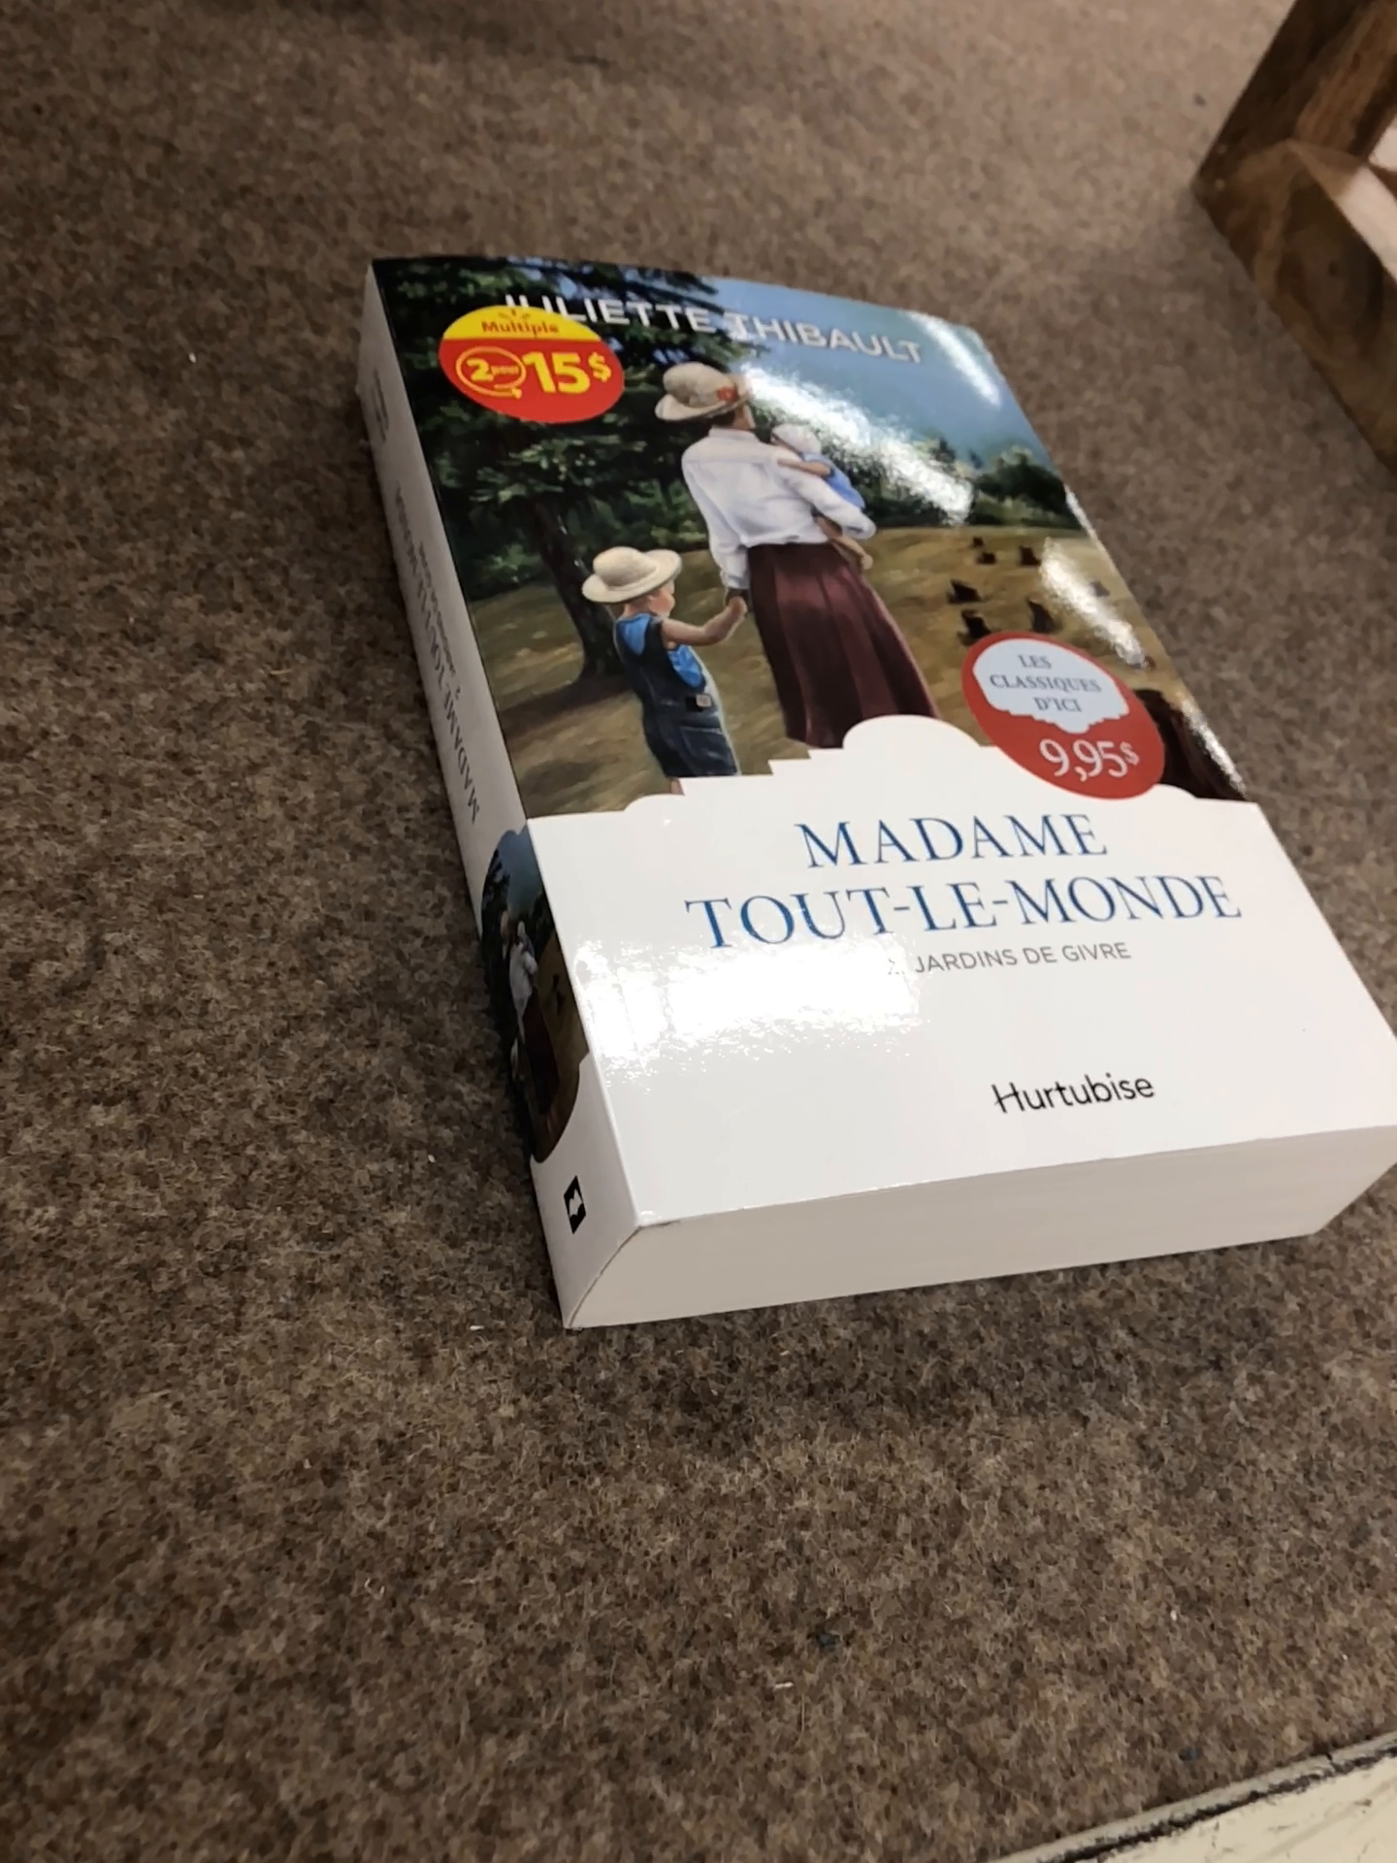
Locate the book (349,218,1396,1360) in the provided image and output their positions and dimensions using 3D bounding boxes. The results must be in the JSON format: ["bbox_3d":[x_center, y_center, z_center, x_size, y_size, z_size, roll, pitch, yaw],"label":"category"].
[{"bbox_3d":[0.029,-0.043,0.309,0.160,0.050,0.222,-3,57,-22],"label":"book"}]
